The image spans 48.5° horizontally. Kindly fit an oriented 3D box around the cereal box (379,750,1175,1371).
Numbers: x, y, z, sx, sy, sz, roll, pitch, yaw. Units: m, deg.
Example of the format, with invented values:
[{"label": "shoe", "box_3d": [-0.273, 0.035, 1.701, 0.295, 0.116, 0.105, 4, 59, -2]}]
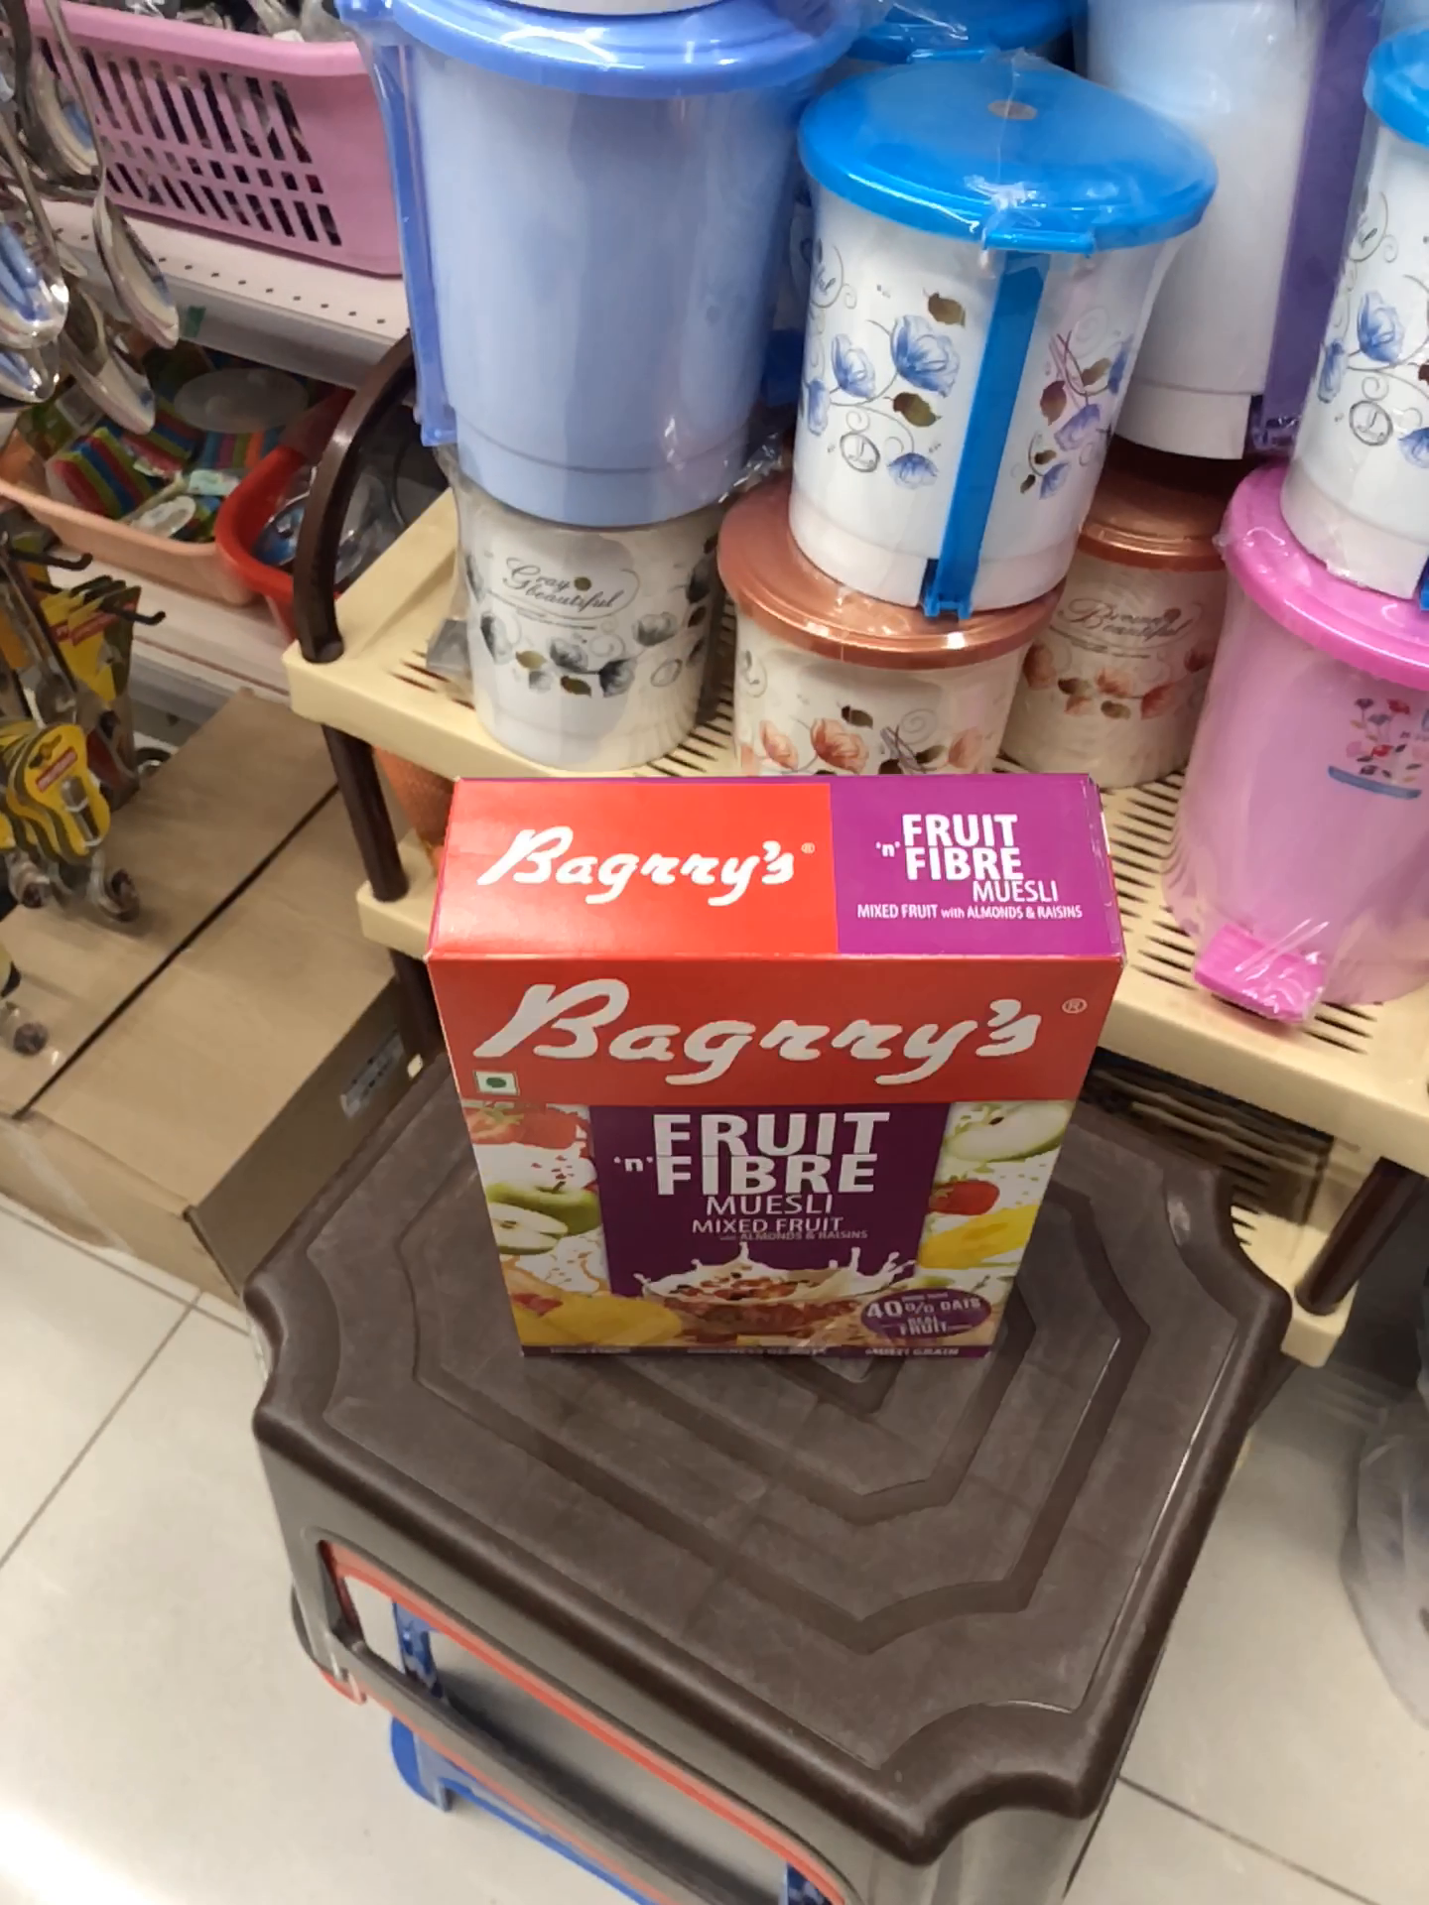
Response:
[{"label": "cereal box", "box_3d": [0.017, 0.051, 0.523, 0.200, 0.259, 0.070, 1, 52, 1]}]
